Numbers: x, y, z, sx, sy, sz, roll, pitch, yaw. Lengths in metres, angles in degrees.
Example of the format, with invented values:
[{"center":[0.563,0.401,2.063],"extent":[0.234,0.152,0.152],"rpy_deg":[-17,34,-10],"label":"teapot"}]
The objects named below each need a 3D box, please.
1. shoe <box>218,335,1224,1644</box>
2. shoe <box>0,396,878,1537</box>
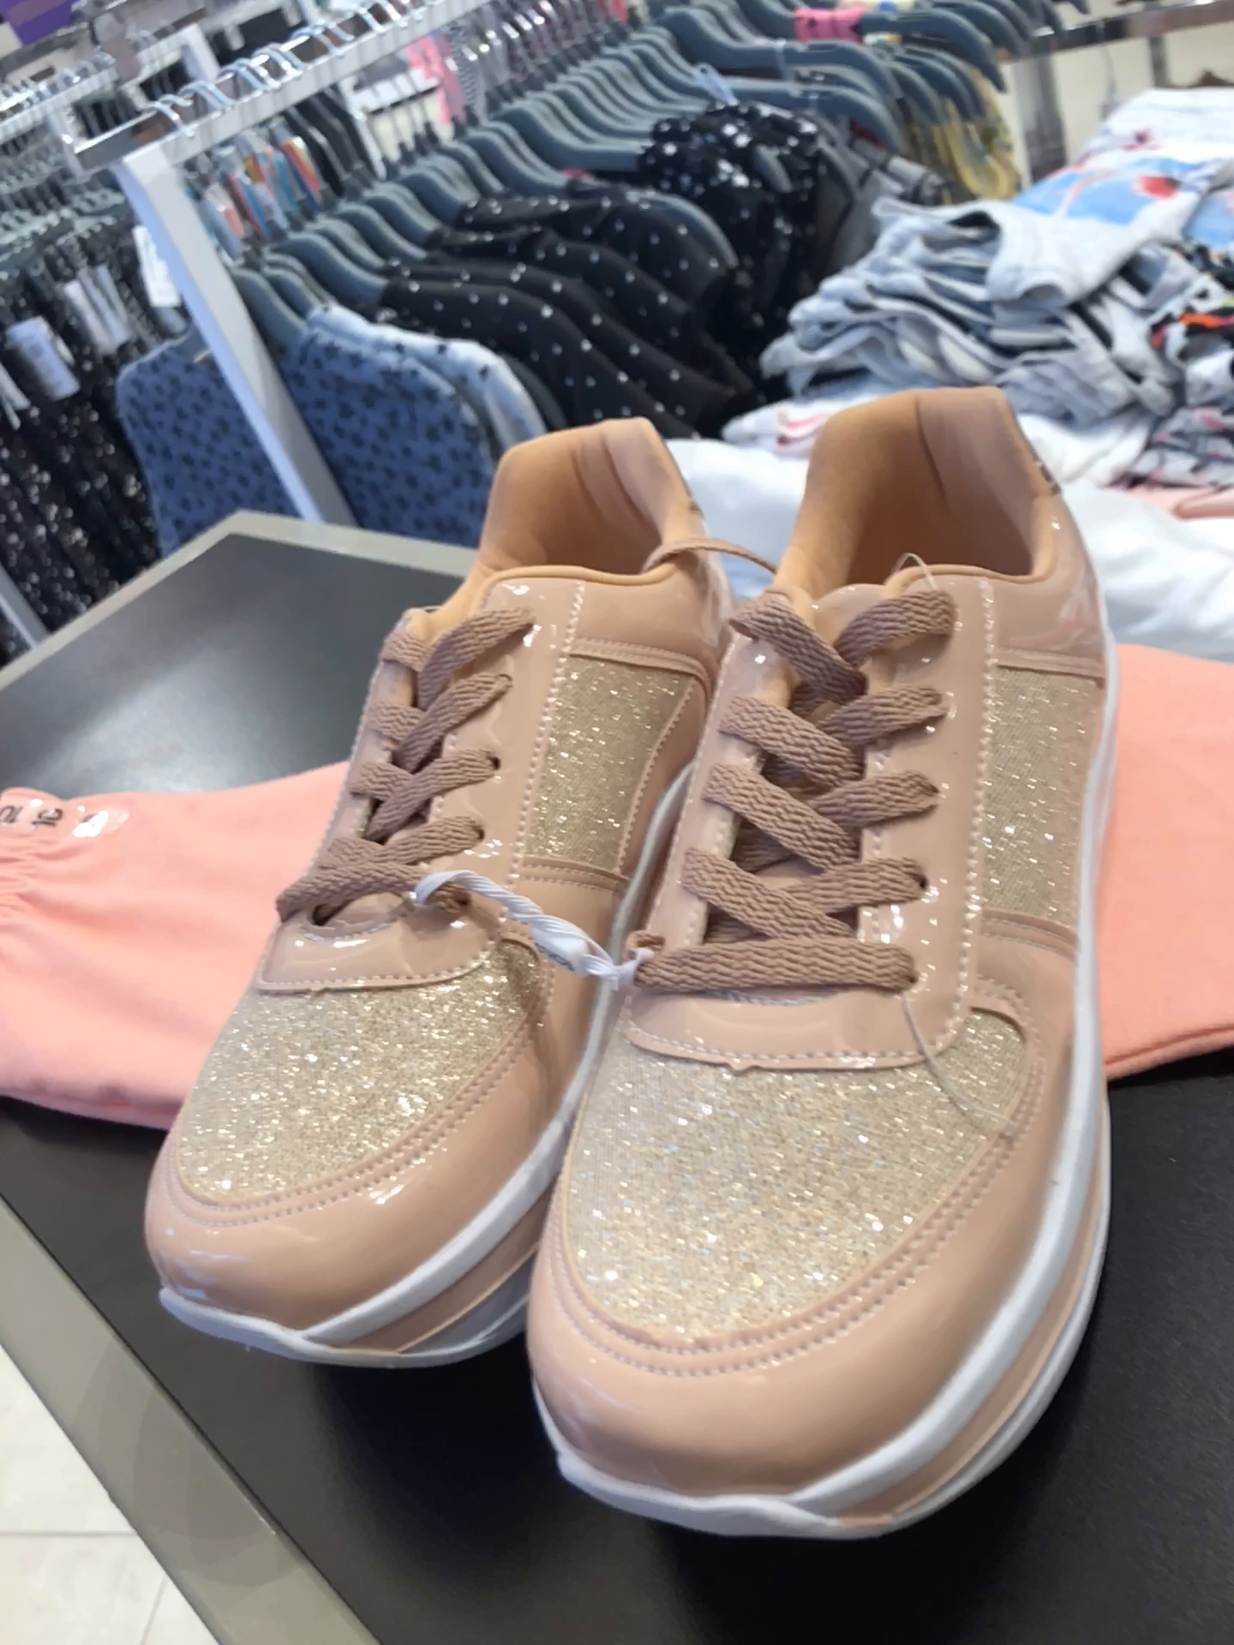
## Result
[{"center":[0.046,0.013,0.243],"extent":[0.090,0.089,0.221],"rpy_deg":[0,42,30],"label":"shoe"},{"center":[-0.024,0.012,0.301],"extent":[0.090,0.099,0.221],"rpy_deg":[0,42,30],"label":"shoe"}]
